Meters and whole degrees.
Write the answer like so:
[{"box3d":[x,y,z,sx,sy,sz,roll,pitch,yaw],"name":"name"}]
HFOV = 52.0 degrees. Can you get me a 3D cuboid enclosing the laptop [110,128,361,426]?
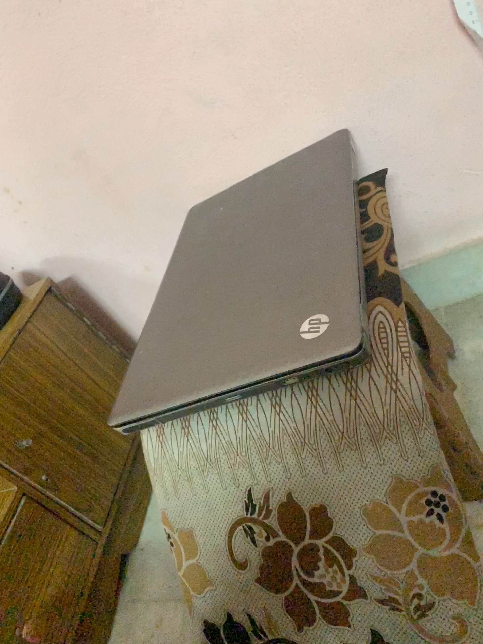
[{"box3d":[0.004,-0.073,0.546,0.249,0.002,0.381,-20,38,27],"name":"laptop"}]
